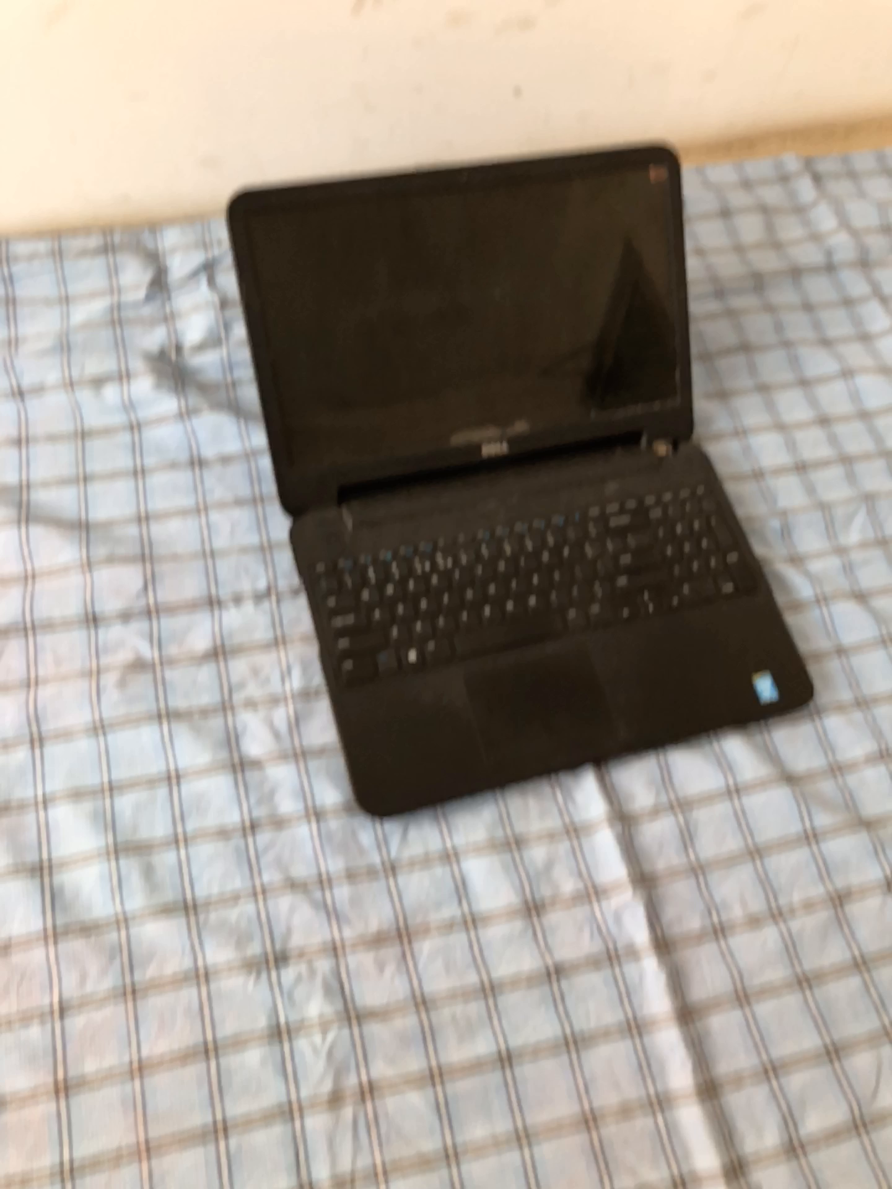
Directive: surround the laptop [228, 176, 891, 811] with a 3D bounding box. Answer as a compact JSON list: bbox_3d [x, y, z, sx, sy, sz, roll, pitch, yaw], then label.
[{"bbox_3d":[0.062,-0.097,0.746,0.355,0.163,0.414,-12,63,-14],"label":"laptop"}]
